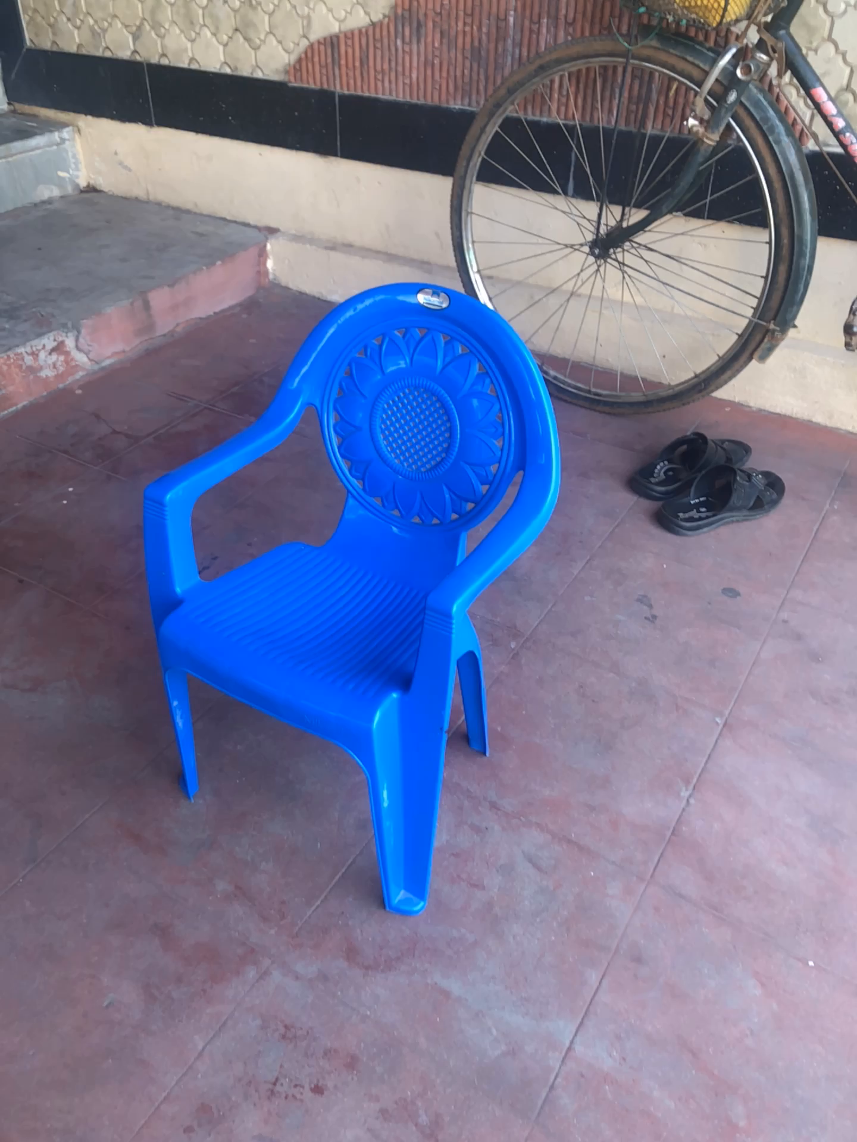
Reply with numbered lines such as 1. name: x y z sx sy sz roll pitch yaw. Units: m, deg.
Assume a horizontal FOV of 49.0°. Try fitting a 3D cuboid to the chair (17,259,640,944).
1. chair: -0.073 0.000 1.046 0.400 0.497 0.452 21 41 26
